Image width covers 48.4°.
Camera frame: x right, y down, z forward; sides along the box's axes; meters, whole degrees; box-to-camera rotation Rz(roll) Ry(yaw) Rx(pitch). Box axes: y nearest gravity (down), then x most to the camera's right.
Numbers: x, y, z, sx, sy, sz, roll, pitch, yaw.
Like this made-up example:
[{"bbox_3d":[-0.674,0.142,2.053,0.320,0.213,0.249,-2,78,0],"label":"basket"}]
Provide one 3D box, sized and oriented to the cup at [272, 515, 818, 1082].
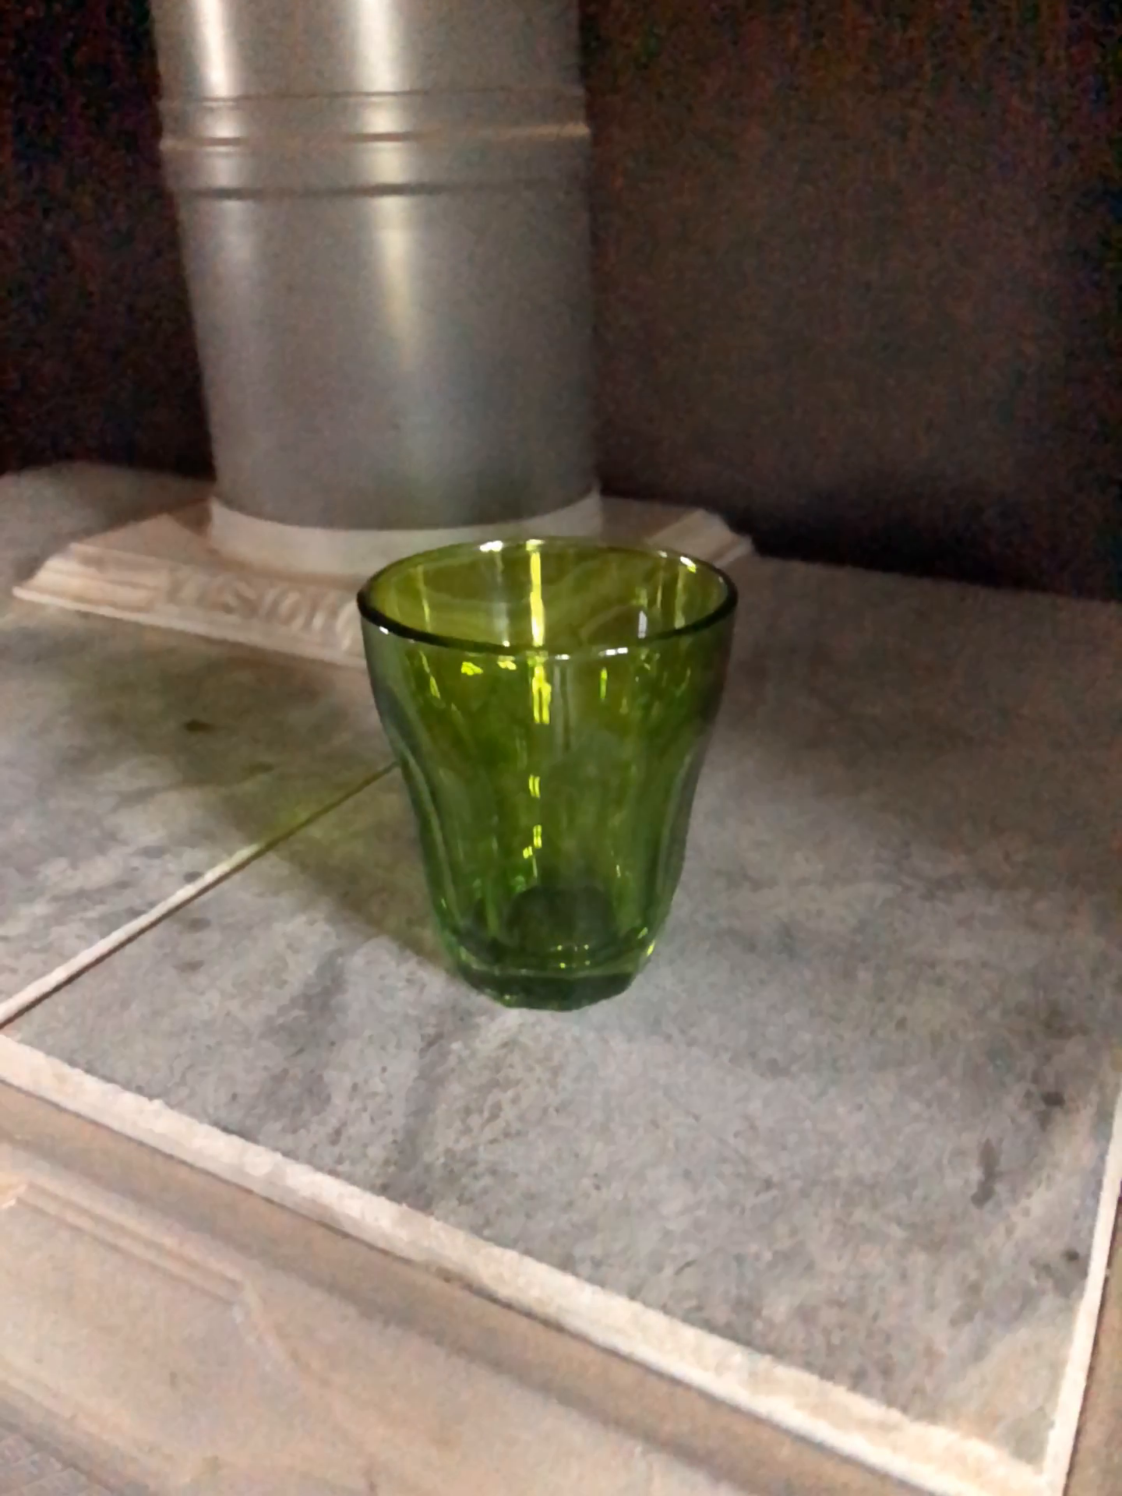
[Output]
[{"bbox_3d":[0.001,0.003,0.263,0.080,0.080,0.080,-1,24,0],"label":"cup"}]
